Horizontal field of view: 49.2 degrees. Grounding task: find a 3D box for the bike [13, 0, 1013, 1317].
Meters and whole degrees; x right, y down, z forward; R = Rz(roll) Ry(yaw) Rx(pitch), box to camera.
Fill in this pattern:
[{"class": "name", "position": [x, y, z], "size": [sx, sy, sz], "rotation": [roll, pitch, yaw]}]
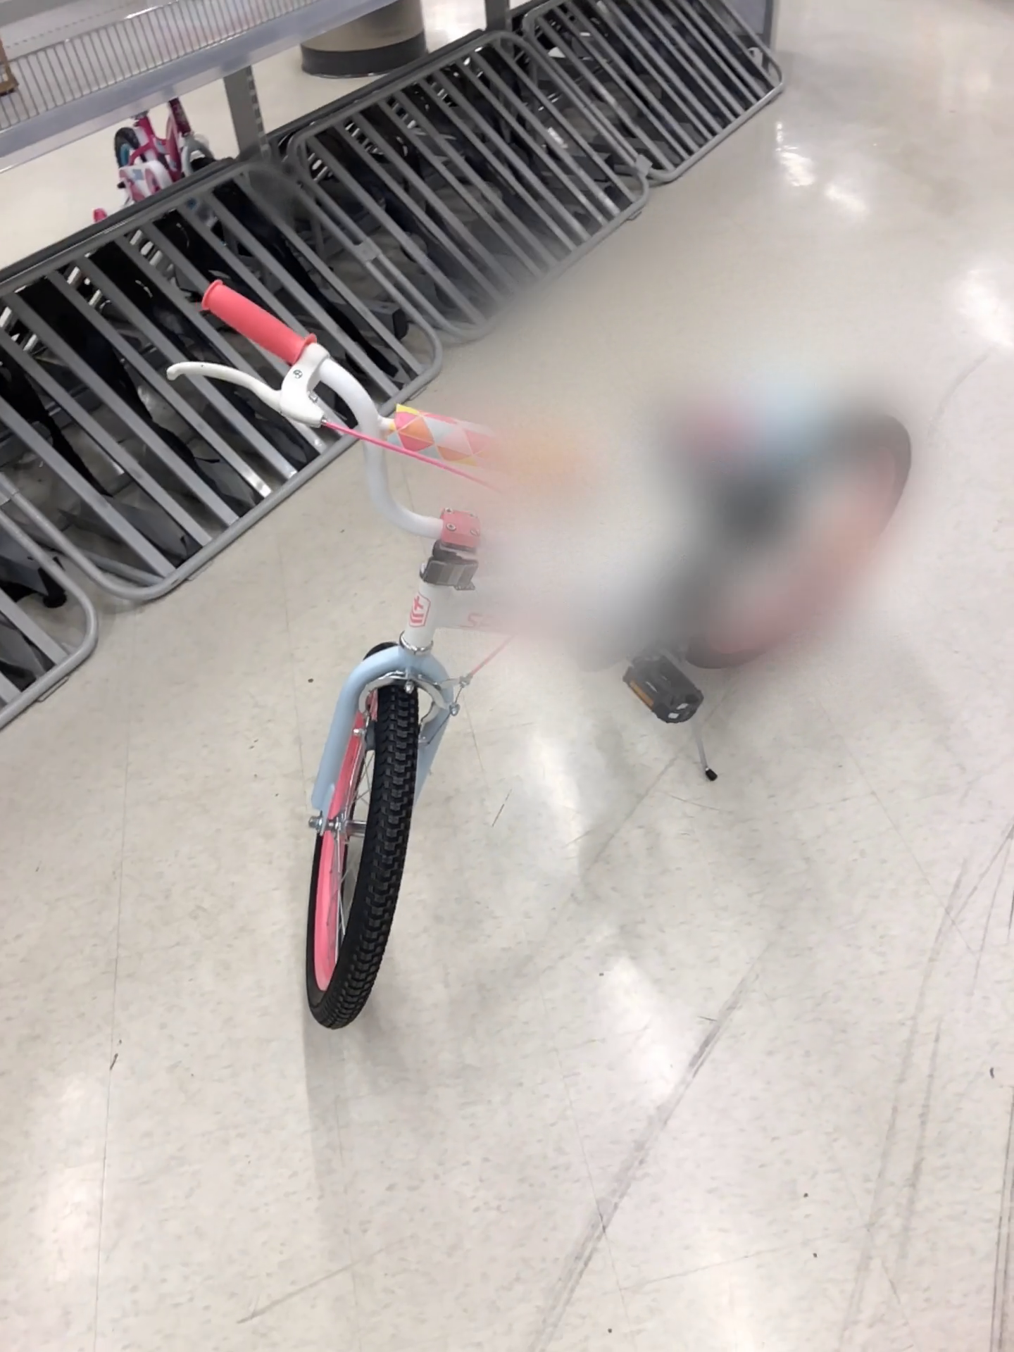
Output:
[{"class": "bike", "position": [0.237, -0.117, 1.418], "size": [0.634, 0.961, 1.254], "rotation": [31, 56, 33]}]
